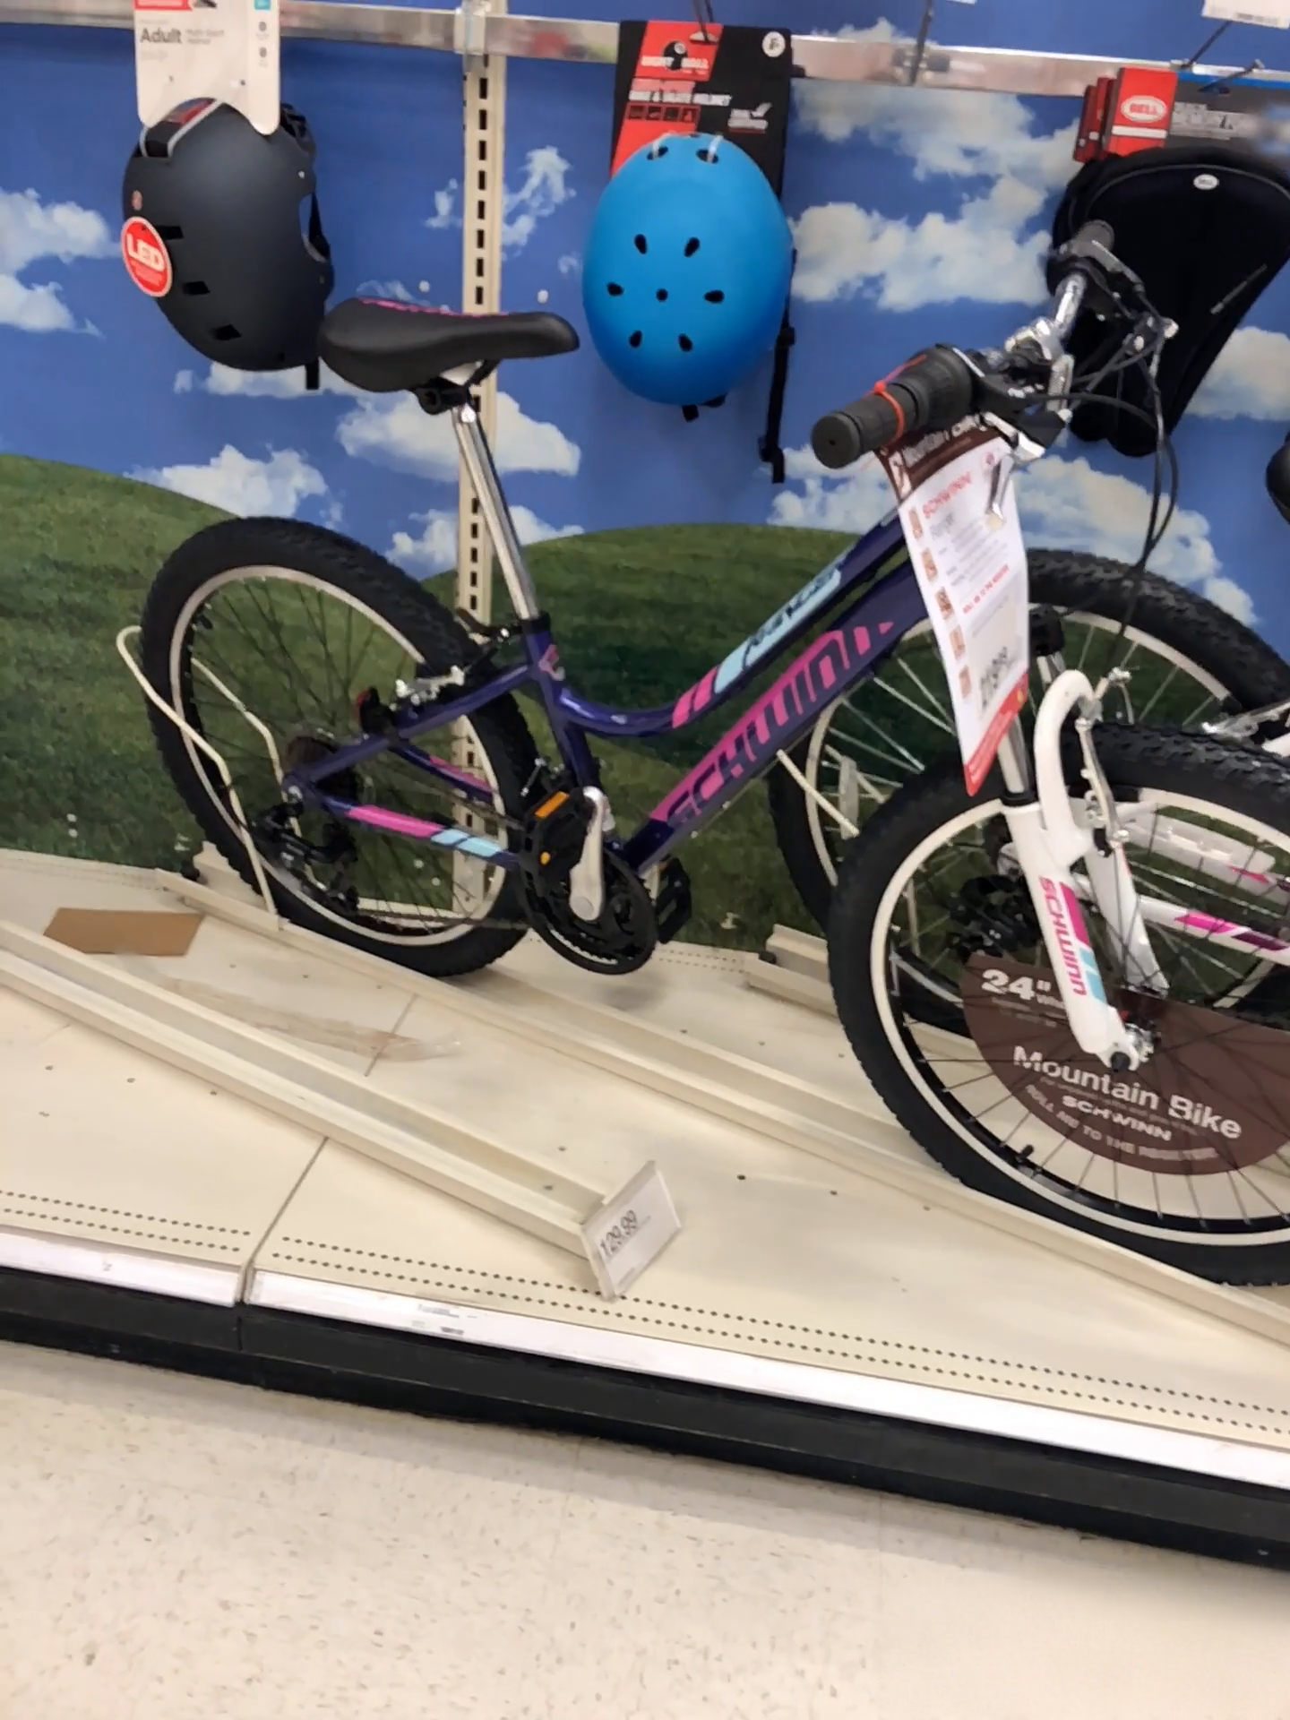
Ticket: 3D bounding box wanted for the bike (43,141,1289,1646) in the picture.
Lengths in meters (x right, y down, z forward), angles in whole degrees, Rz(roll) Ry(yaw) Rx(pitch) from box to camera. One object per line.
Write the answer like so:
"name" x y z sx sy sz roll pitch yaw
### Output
"bike" 0.122 -0.149 1.233 1.224 0.798 0.570 20 29 33
